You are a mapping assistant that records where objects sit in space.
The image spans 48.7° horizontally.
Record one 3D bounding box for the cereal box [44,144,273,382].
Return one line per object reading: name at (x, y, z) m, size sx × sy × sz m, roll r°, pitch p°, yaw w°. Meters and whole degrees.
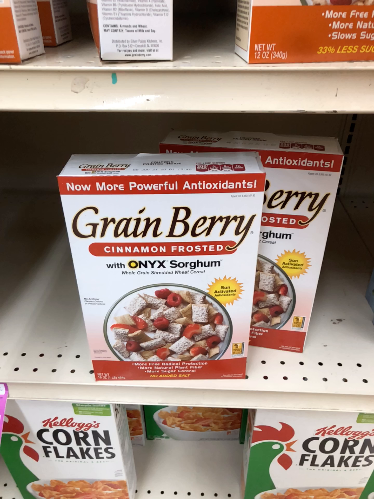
cereal box at (-0.025, 0.029, 0.468) m, size 0.200 × 0.279 × 0.070 m, roll -1°, pitch 34°, yaw -1°
